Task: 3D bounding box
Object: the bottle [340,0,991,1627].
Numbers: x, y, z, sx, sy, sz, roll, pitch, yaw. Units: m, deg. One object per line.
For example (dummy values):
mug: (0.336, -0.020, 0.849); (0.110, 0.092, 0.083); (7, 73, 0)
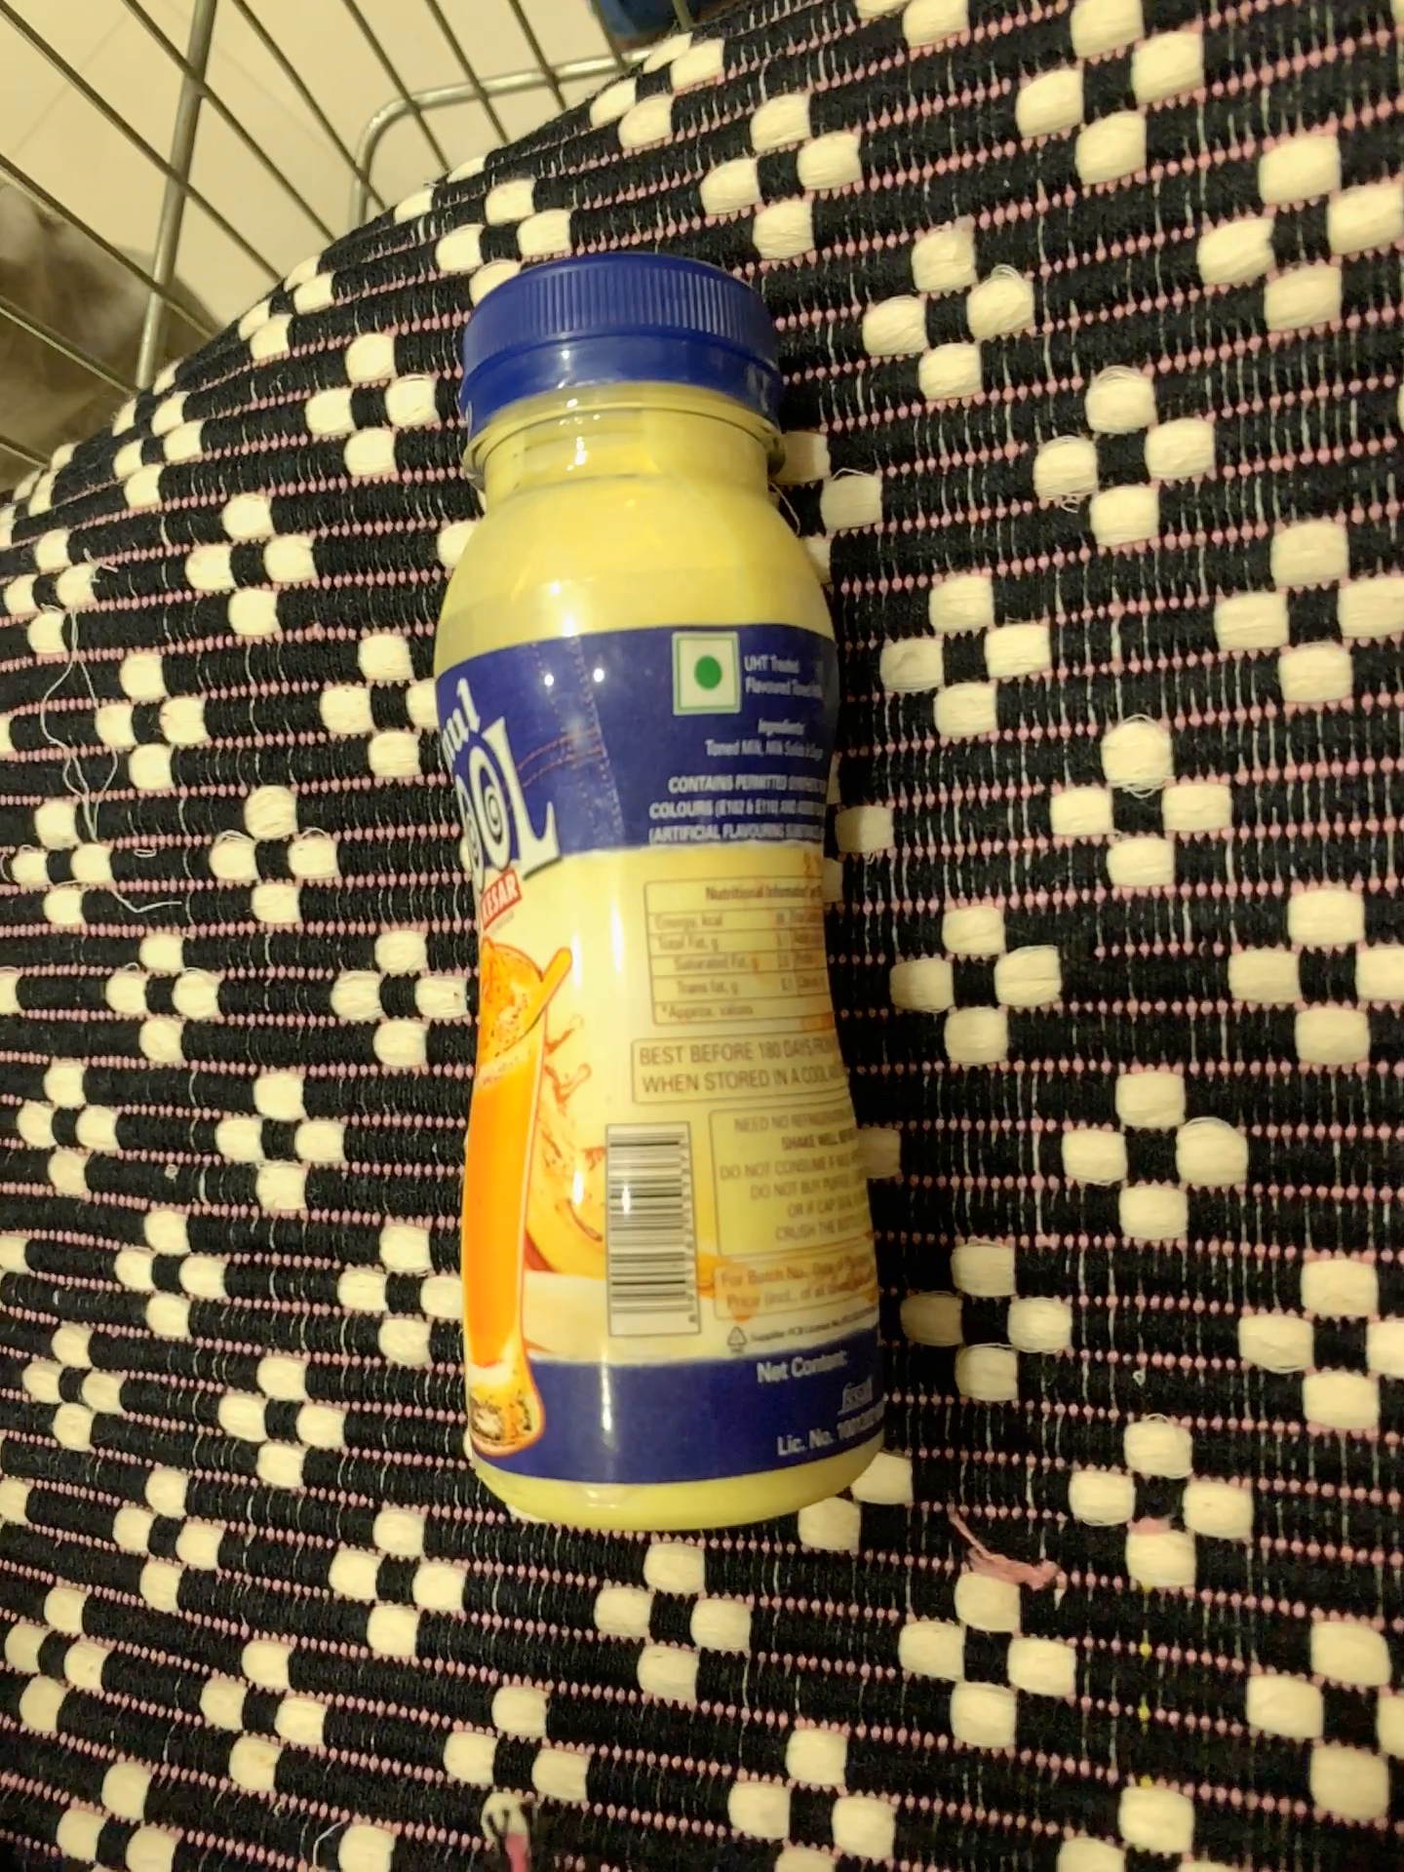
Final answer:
bottle: (-0.010, -0.014, 0.178); (0.060, 0.060, 0.160); (1, 85, -21)
